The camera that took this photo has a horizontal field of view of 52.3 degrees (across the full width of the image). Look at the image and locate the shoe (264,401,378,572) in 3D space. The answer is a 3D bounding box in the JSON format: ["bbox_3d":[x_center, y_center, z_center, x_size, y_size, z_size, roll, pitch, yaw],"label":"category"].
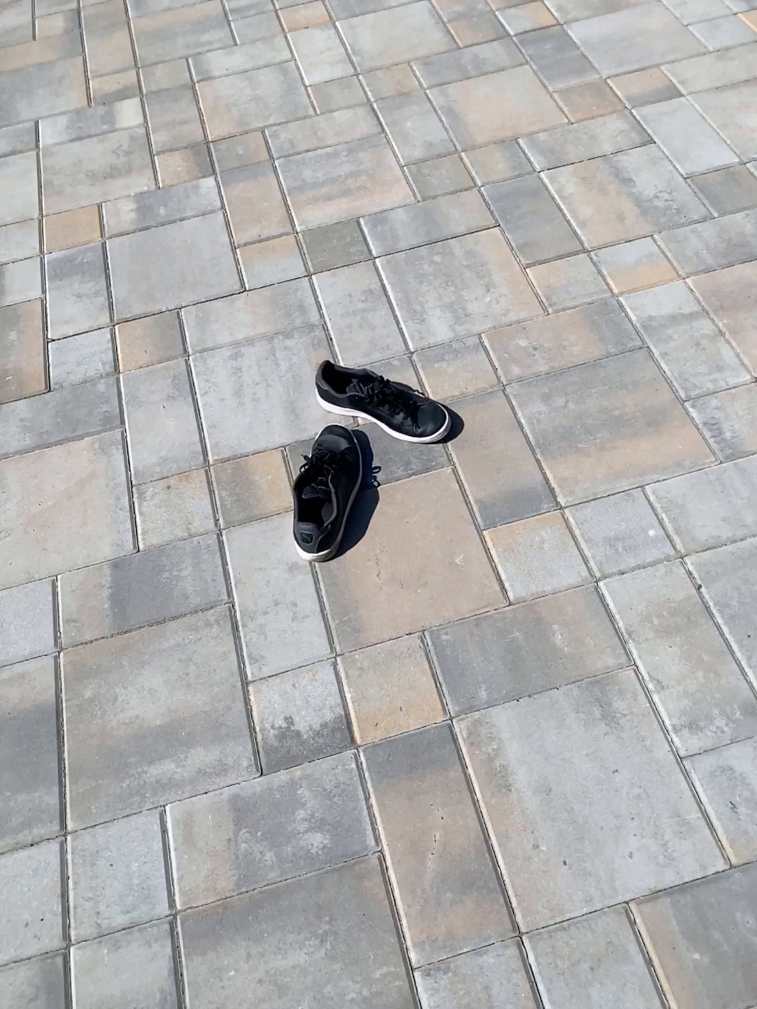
[{"bbox_3d":[-0.088,-0.033,1.265,0.110,0.110,0.251,8,58,12],"label":"shoe"}]

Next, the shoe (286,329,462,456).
[{"bbox_3d":[-0.006,-0.199,1.354,0.281,0.100,0.110,21,62,19],"label":"shoe"}]
